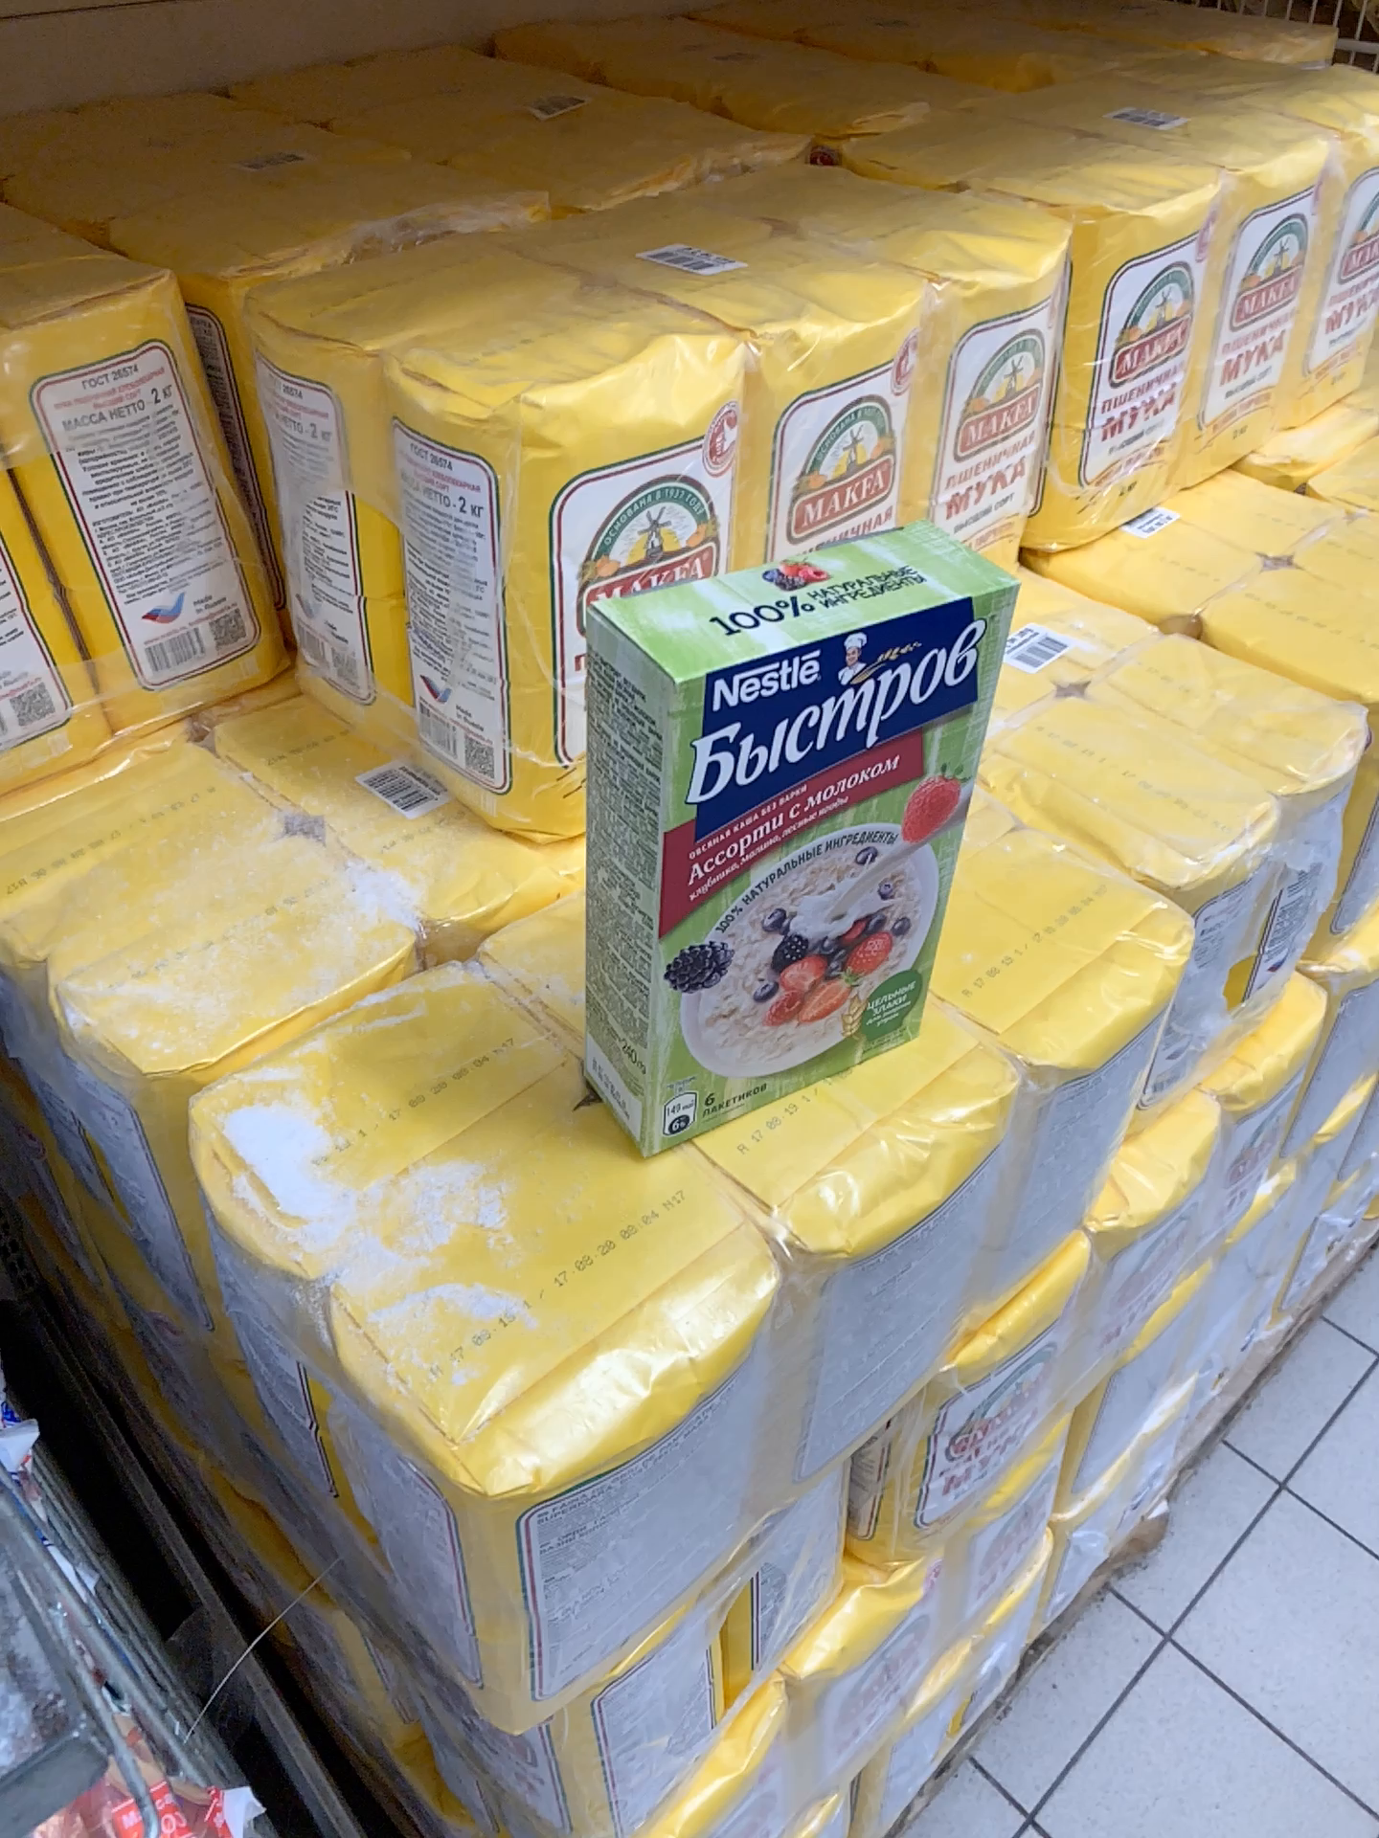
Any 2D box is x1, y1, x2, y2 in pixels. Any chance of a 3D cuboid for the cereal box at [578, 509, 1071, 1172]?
[{"bbox_3d":[0.033,-0.020,0.430,0.120,0.178,0.050,-20,48,-26],"label":"cereal box"}]
